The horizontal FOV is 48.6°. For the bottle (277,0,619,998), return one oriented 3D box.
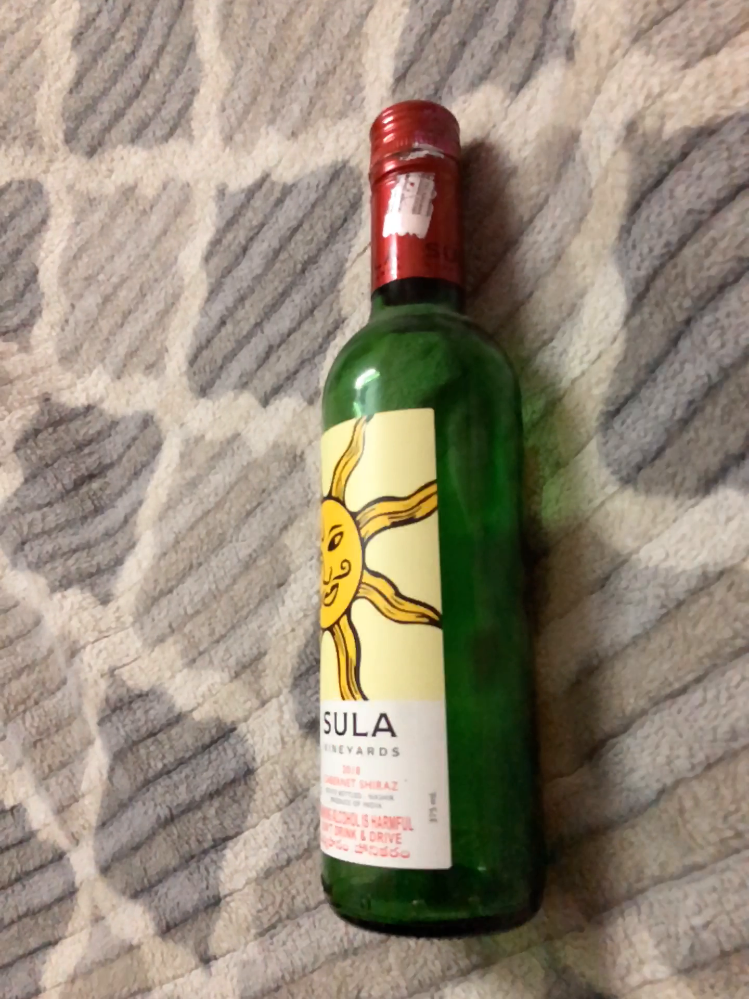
[{"bbox_3d":[0.014,-0.003,0.216,0.060,0.050,0.230,-12,76,47],"label":"bottle"}]
